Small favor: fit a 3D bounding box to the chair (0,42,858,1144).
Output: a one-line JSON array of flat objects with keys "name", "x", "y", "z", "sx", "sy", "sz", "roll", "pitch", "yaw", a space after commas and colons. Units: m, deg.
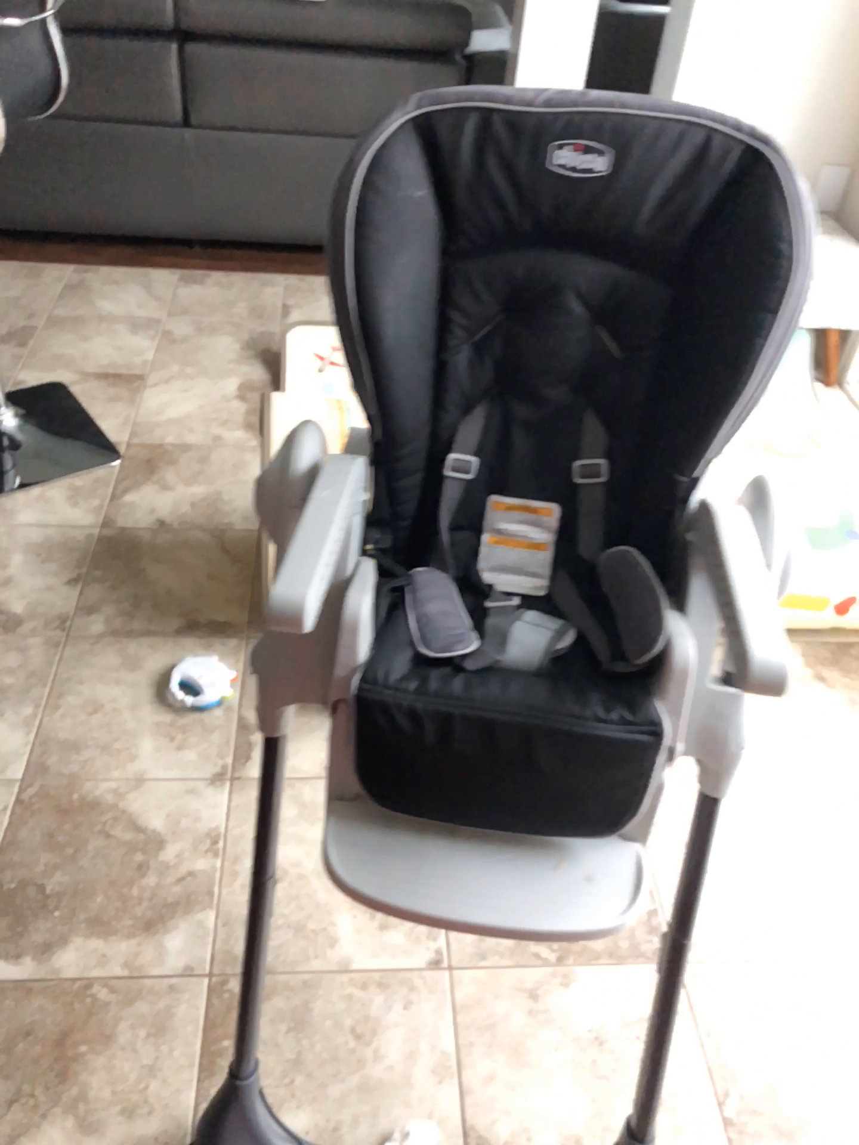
[{"name": "chair", "x": 0.047, "y": 0.095, "z": 1.056, "sx": 0.650, "sy": 0.996, "sz": 0.884, "roll": 7, "pitch": 40, "yaw": 2}]
